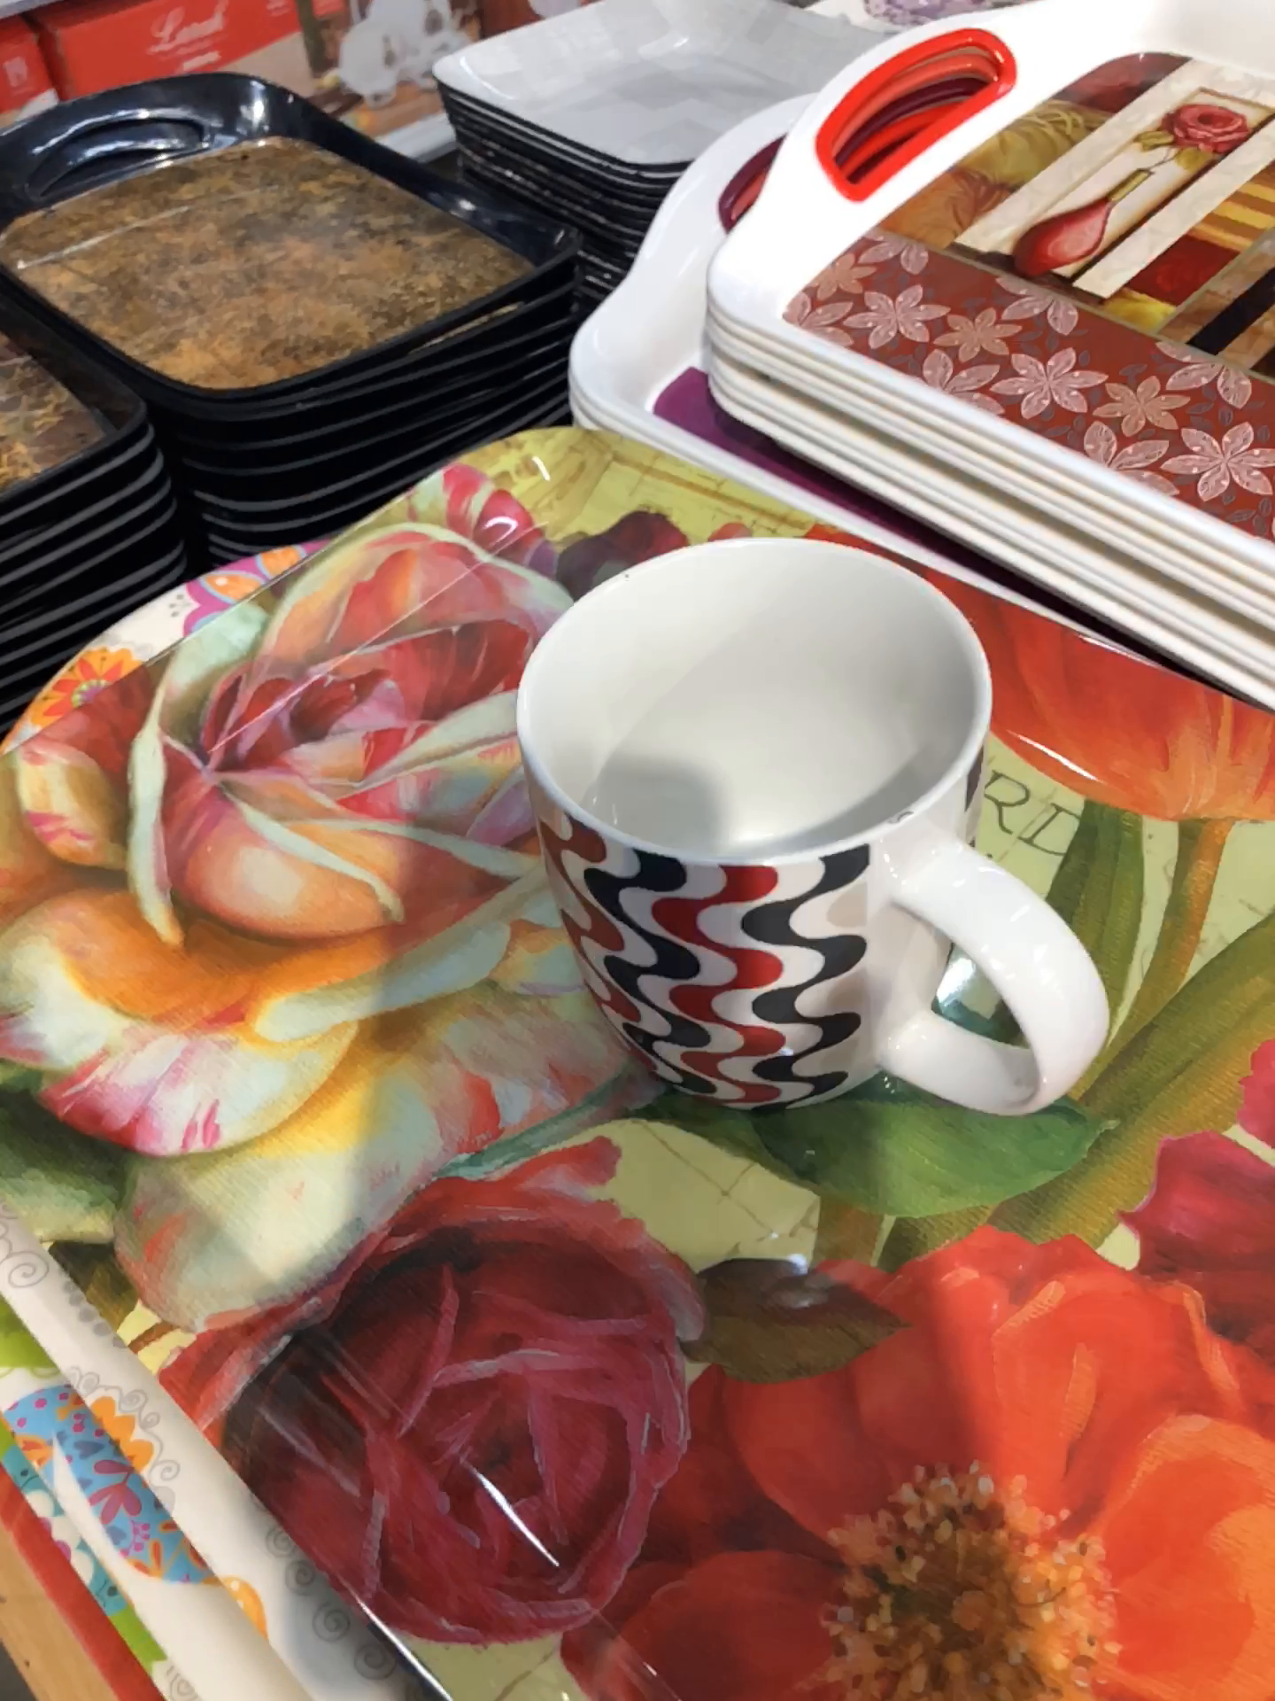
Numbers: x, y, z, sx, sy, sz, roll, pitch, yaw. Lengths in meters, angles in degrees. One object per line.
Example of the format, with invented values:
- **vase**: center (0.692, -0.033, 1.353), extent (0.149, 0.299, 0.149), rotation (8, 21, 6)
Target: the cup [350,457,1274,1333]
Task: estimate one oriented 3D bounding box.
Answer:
- **cup**: center (0.029, 0.001, 0.272), extent (0.130, 0.080, 0.090), rotation (32, 57, 28)
